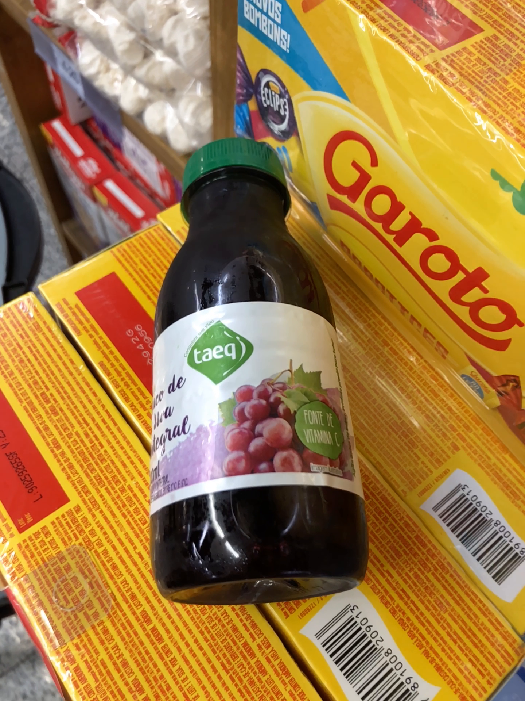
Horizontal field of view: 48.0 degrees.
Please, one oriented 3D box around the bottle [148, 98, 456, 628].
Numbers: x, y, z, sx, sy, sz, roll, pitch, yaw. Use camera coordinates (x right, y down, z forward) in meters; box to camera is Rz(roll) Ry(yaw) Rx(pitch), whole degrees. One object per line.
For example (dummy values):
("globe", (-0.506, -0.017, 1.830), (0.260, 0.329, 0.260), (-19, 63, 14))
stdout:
("bottle", (0.002, -0.006, 0.196), (0.070, 0.050, 0.171), (-1, 60, -5))
